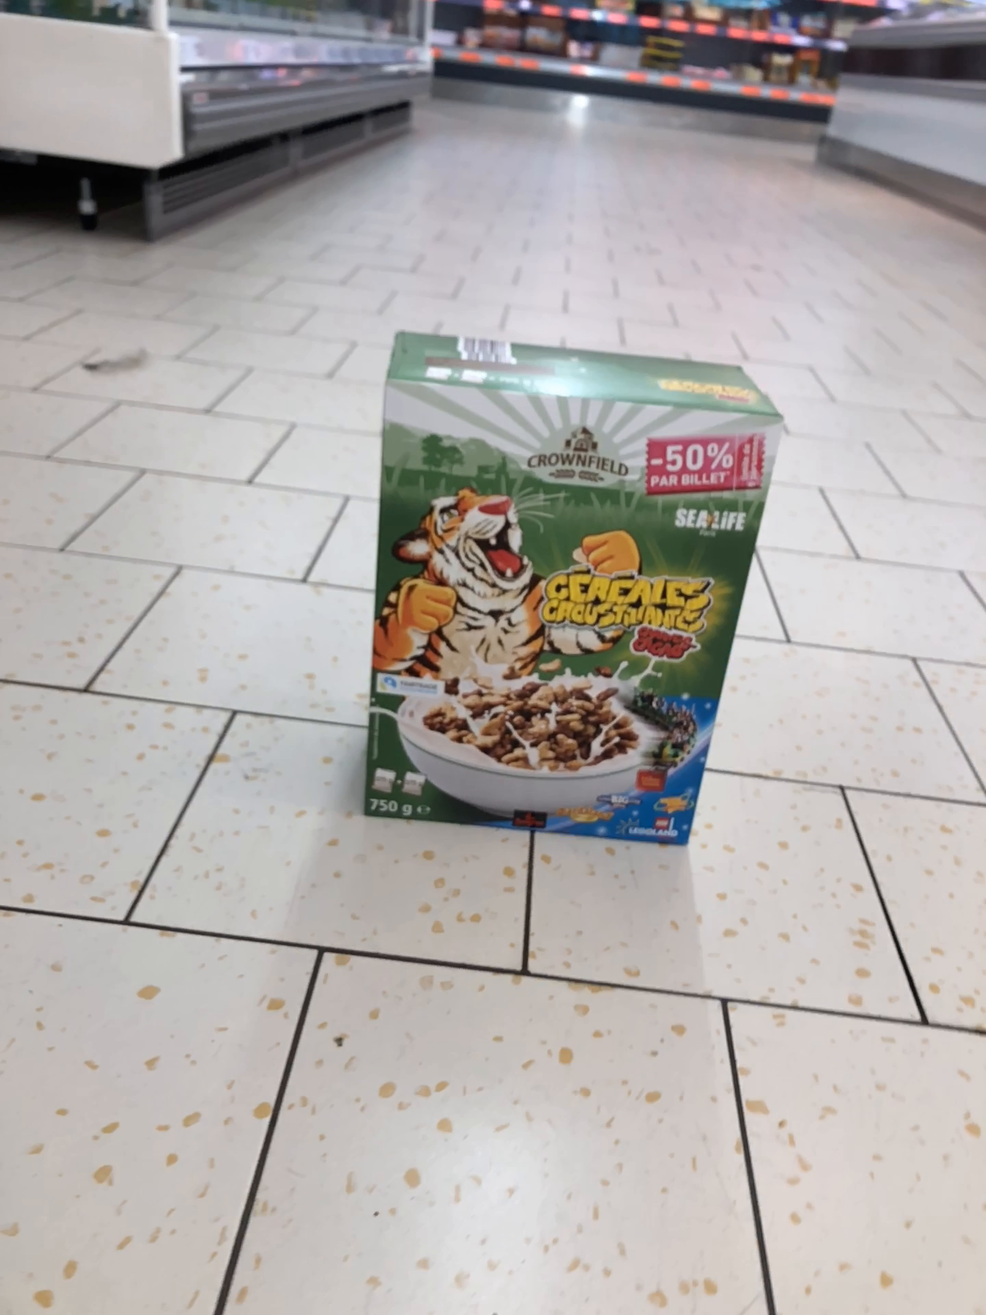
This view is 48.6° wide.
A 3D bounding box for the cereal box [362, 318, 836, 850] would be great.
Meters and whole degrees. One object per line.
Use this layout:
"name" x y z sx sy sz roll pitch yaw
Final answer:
"cereal box" 0.043 -0.037 0.616 0.210 0.258 0.111 5 28 -4
